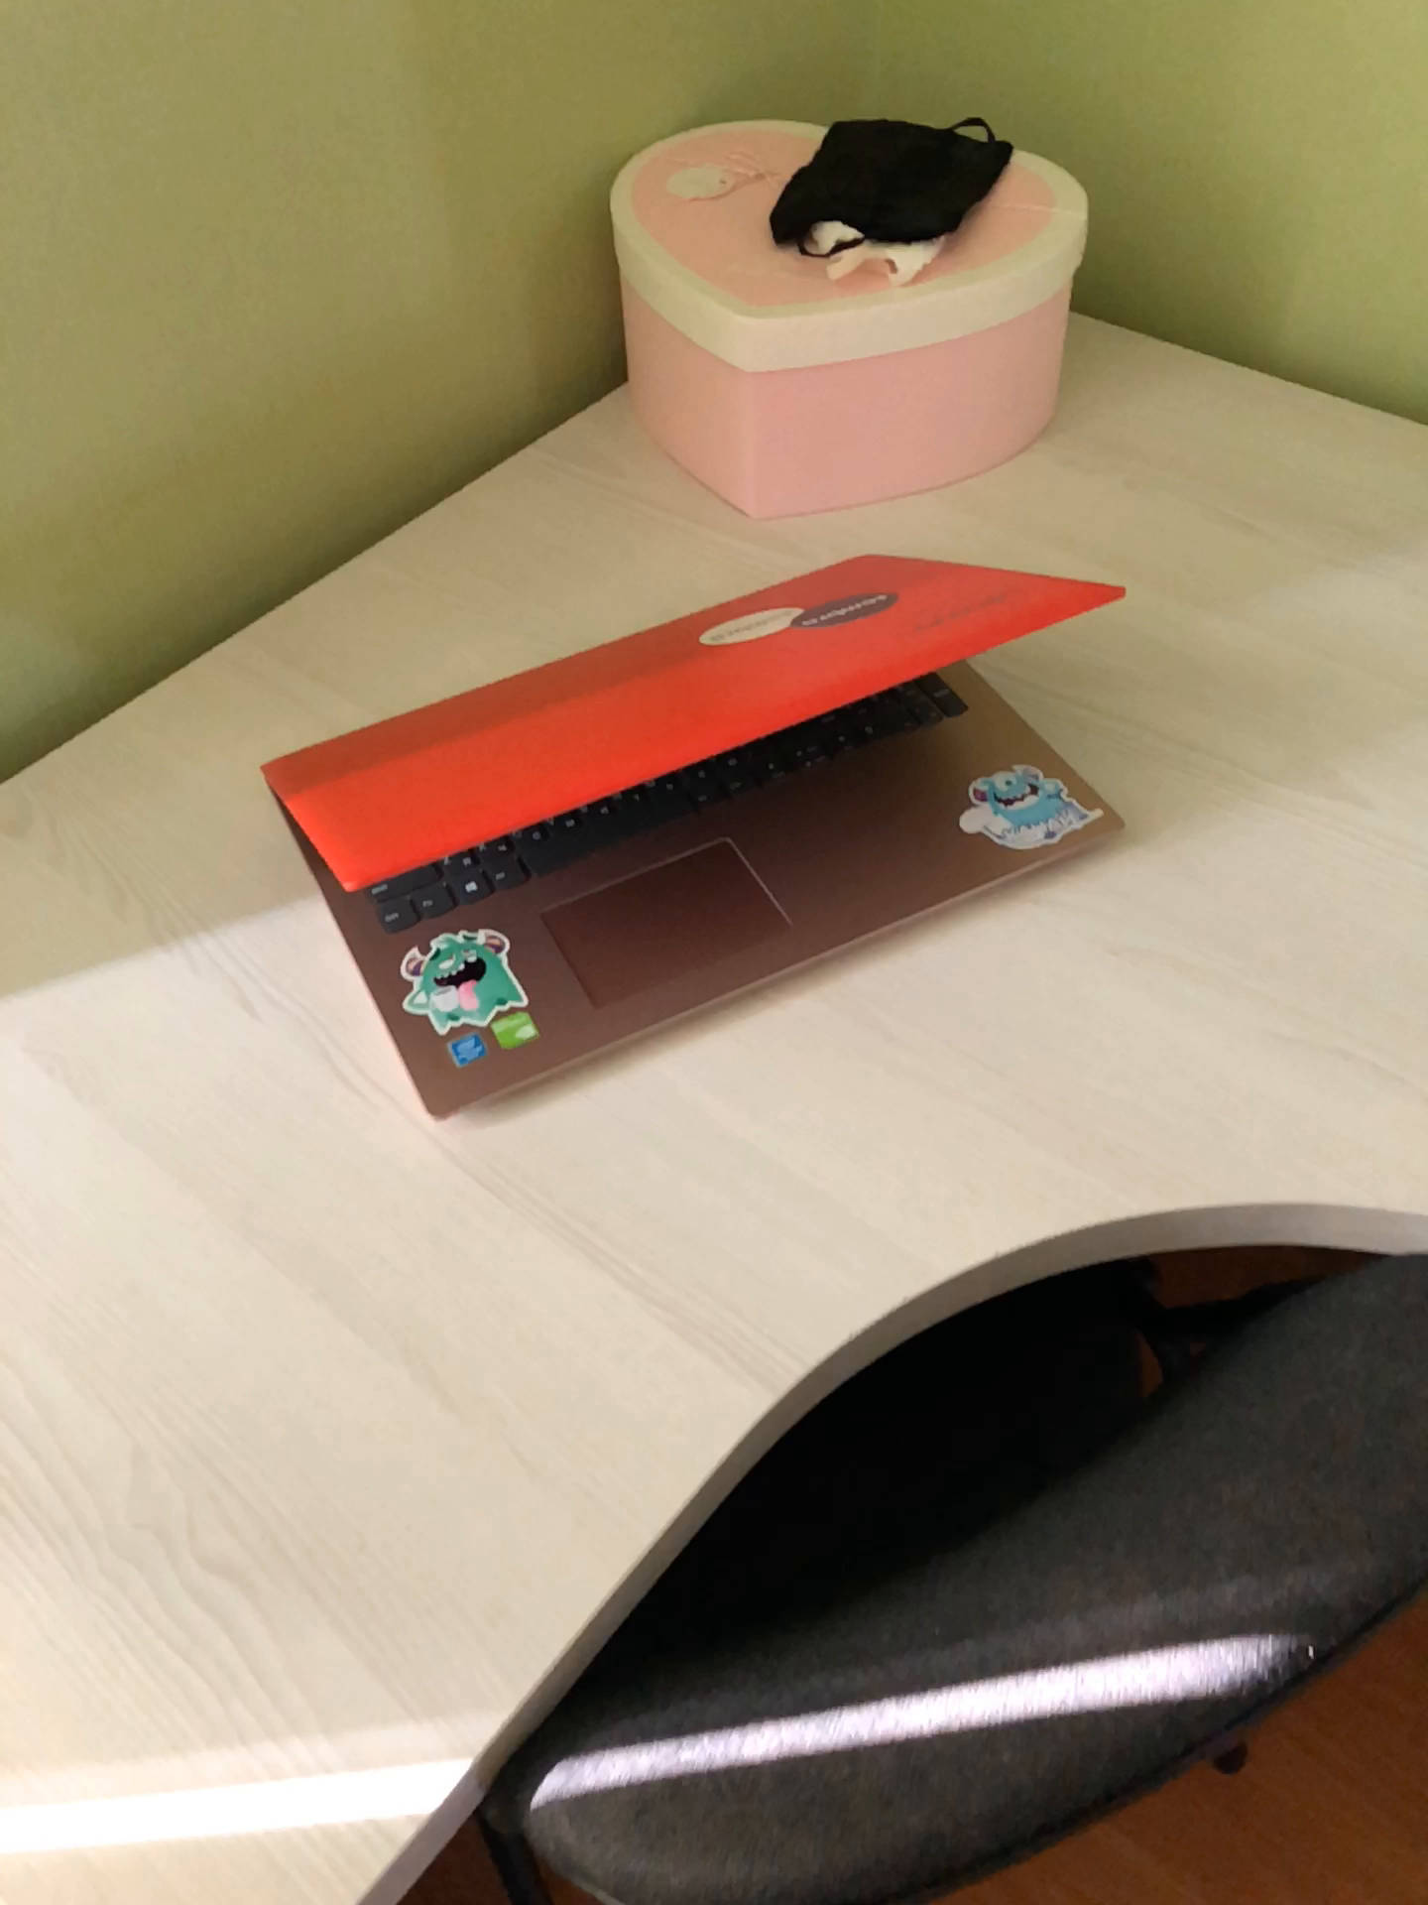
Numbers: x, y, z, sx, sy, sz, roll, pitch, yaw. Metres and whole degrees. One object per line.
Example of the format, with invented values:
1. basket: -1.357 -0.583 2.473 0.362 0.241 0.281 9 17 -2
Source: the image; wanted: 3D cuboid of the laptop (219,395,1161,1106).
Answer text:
1. laptop: -0.014 -0.115 0.764 0.367 0.112 0.233 -22 53 -16
